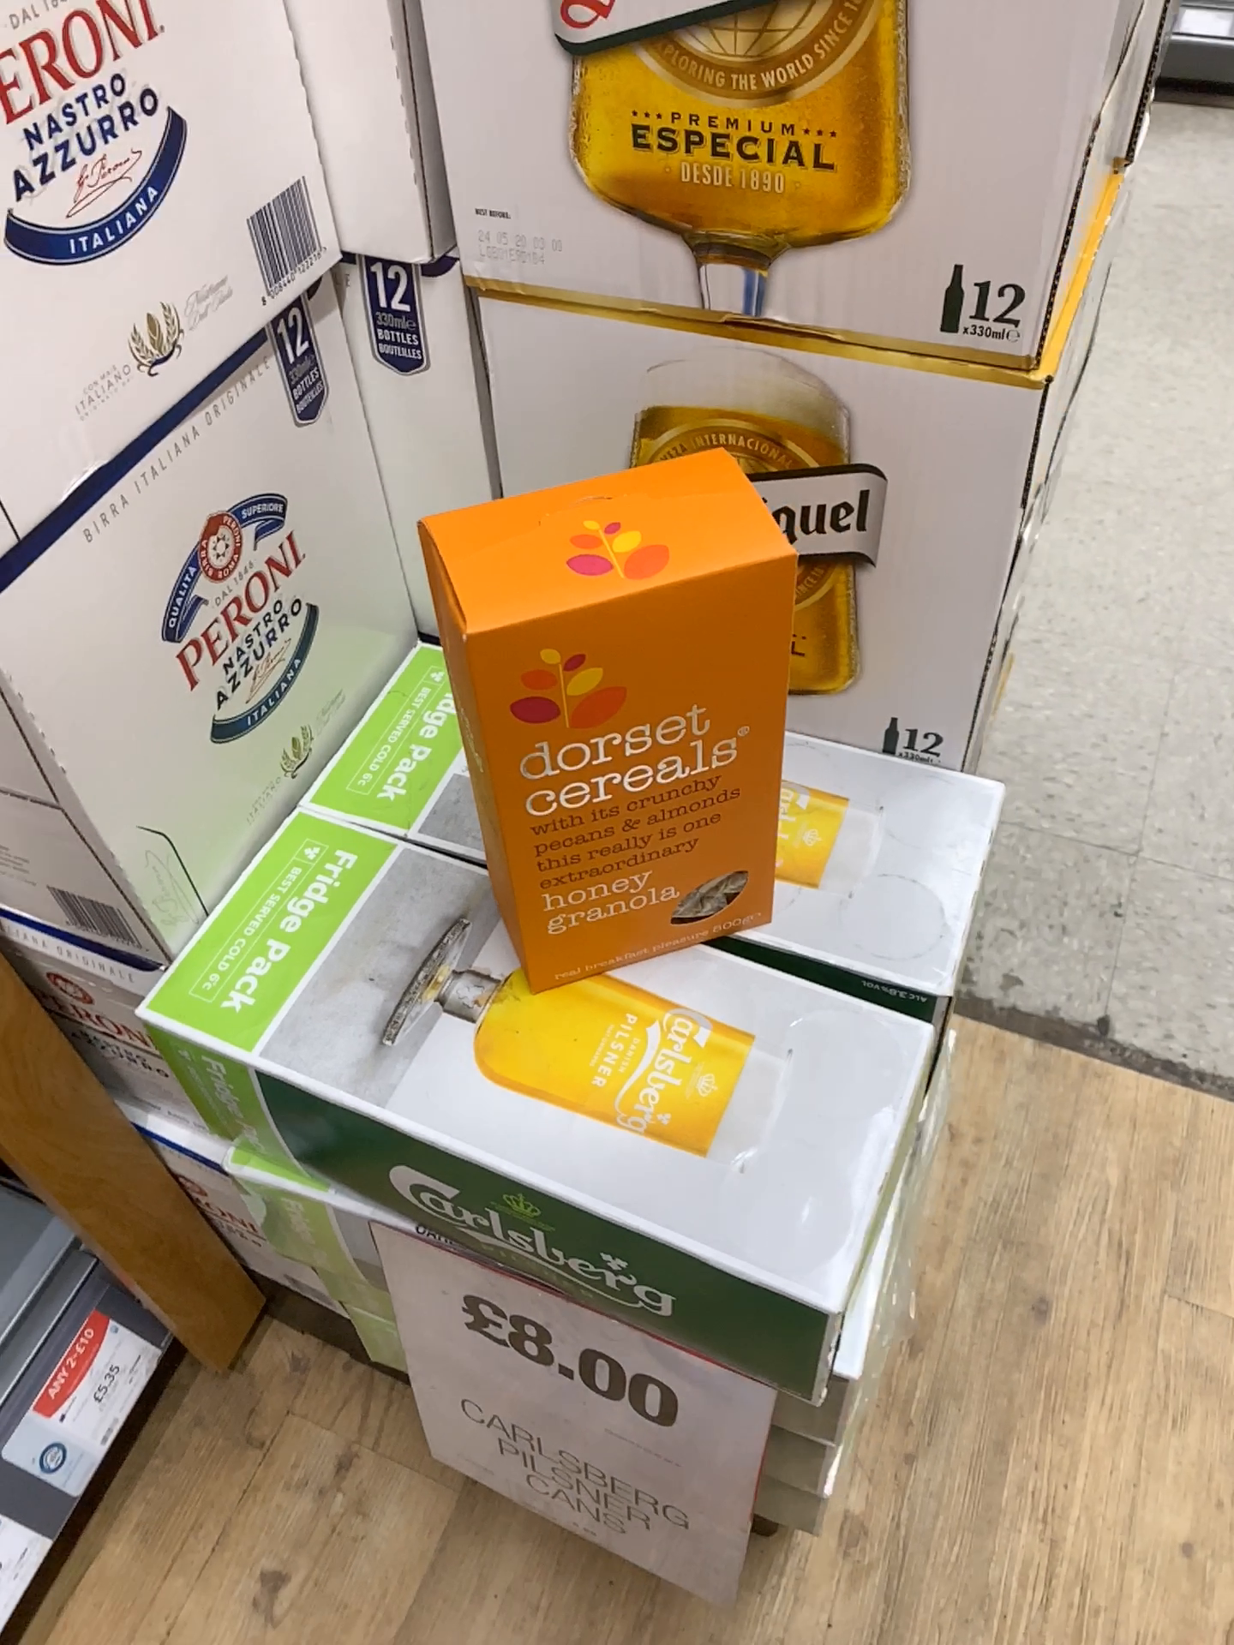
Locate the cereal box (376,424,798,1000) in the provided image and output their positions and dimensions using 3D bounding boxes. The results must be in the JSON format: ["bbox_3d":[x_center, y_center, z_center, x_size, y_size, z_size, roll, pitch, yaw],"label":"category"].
[{"bbox_3d":[-0.005,-0.032,0.479,0.120,0.198,0.071,-16,51,-9],"label":"cereal box"}]
